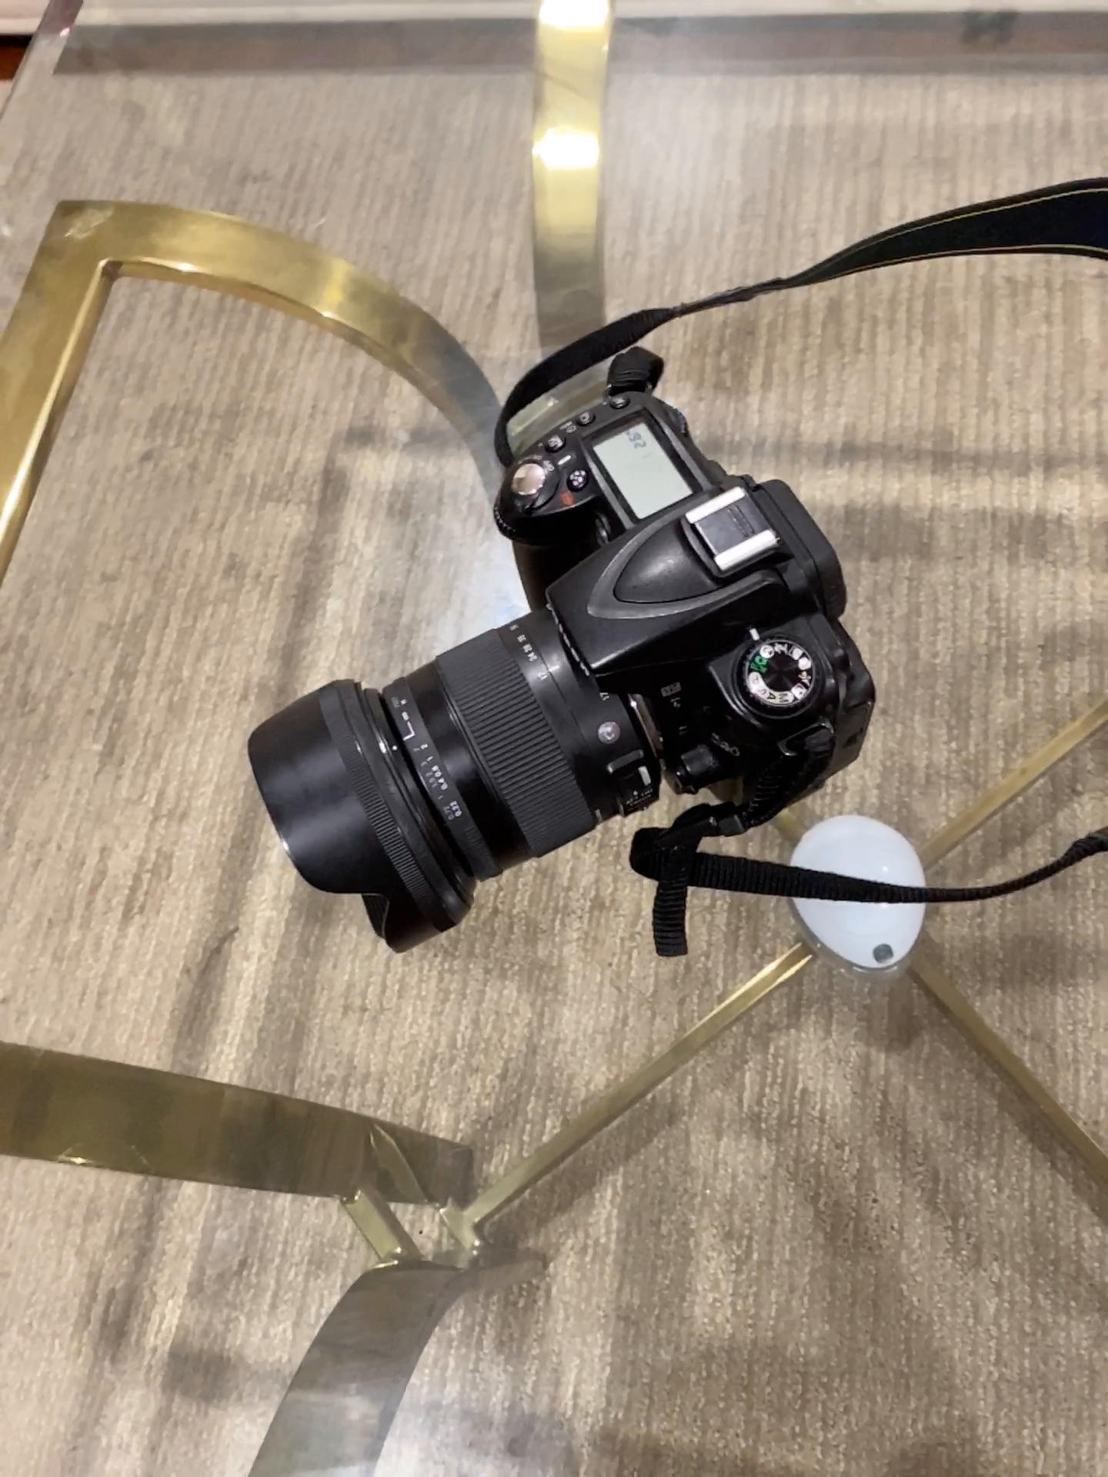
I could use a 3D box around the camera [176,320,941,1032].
[{"bbox_3d":[0.003,-0.014,0.378,0.180,0.120,0.130,-29,66,-5],"label":"camera"}]
